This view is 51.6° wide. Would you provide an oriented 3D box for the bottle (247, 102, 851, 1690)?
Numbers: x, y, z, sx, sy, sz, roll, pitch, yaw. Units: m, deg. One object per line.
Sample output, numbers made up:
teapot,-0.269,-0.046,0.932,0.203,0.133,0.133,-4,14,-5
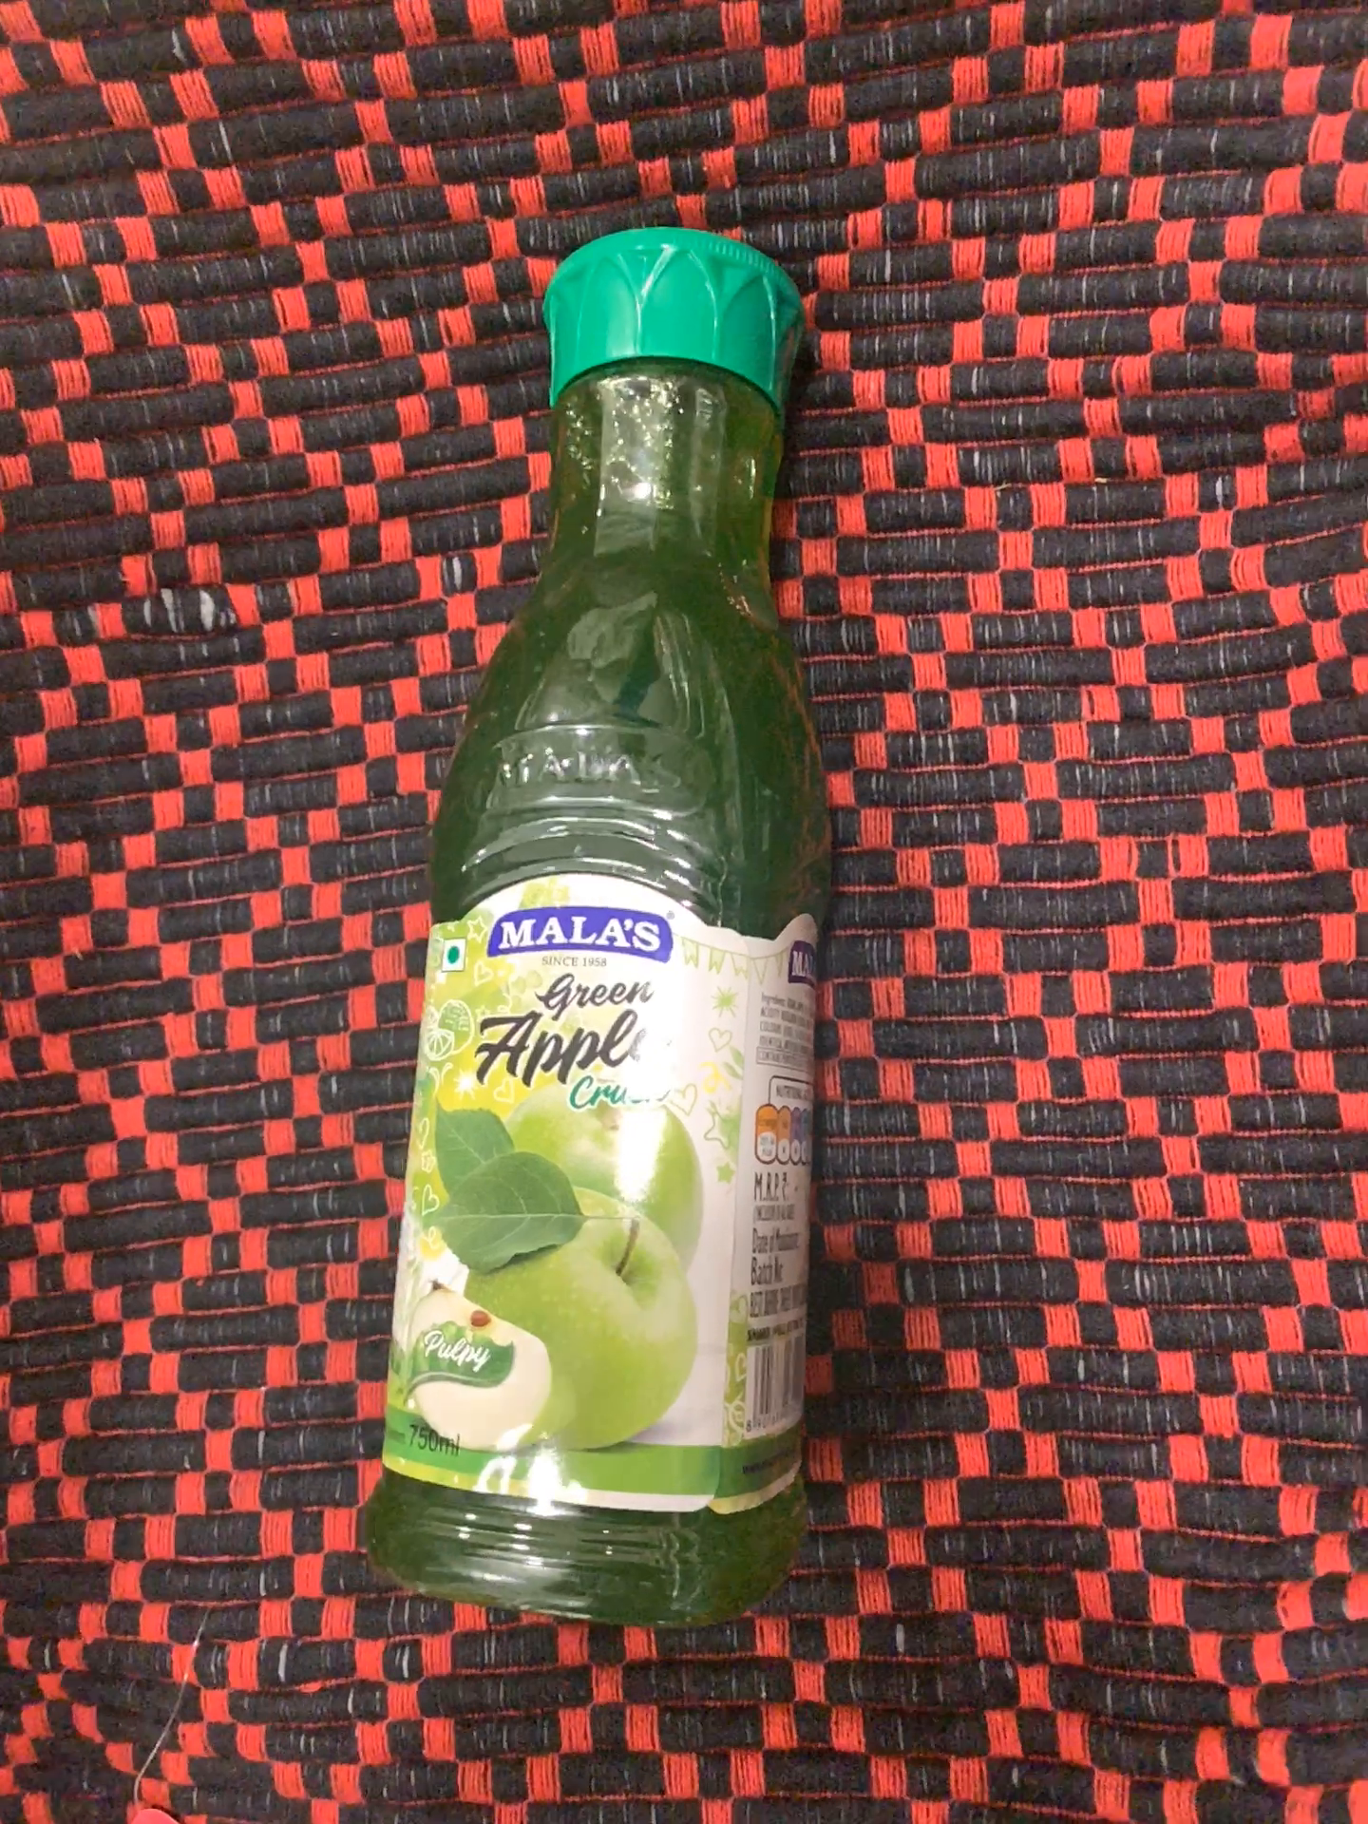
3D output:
bottle,-0.012,-0.012,0.254,0.070,0.070,0.250,2,76,10
